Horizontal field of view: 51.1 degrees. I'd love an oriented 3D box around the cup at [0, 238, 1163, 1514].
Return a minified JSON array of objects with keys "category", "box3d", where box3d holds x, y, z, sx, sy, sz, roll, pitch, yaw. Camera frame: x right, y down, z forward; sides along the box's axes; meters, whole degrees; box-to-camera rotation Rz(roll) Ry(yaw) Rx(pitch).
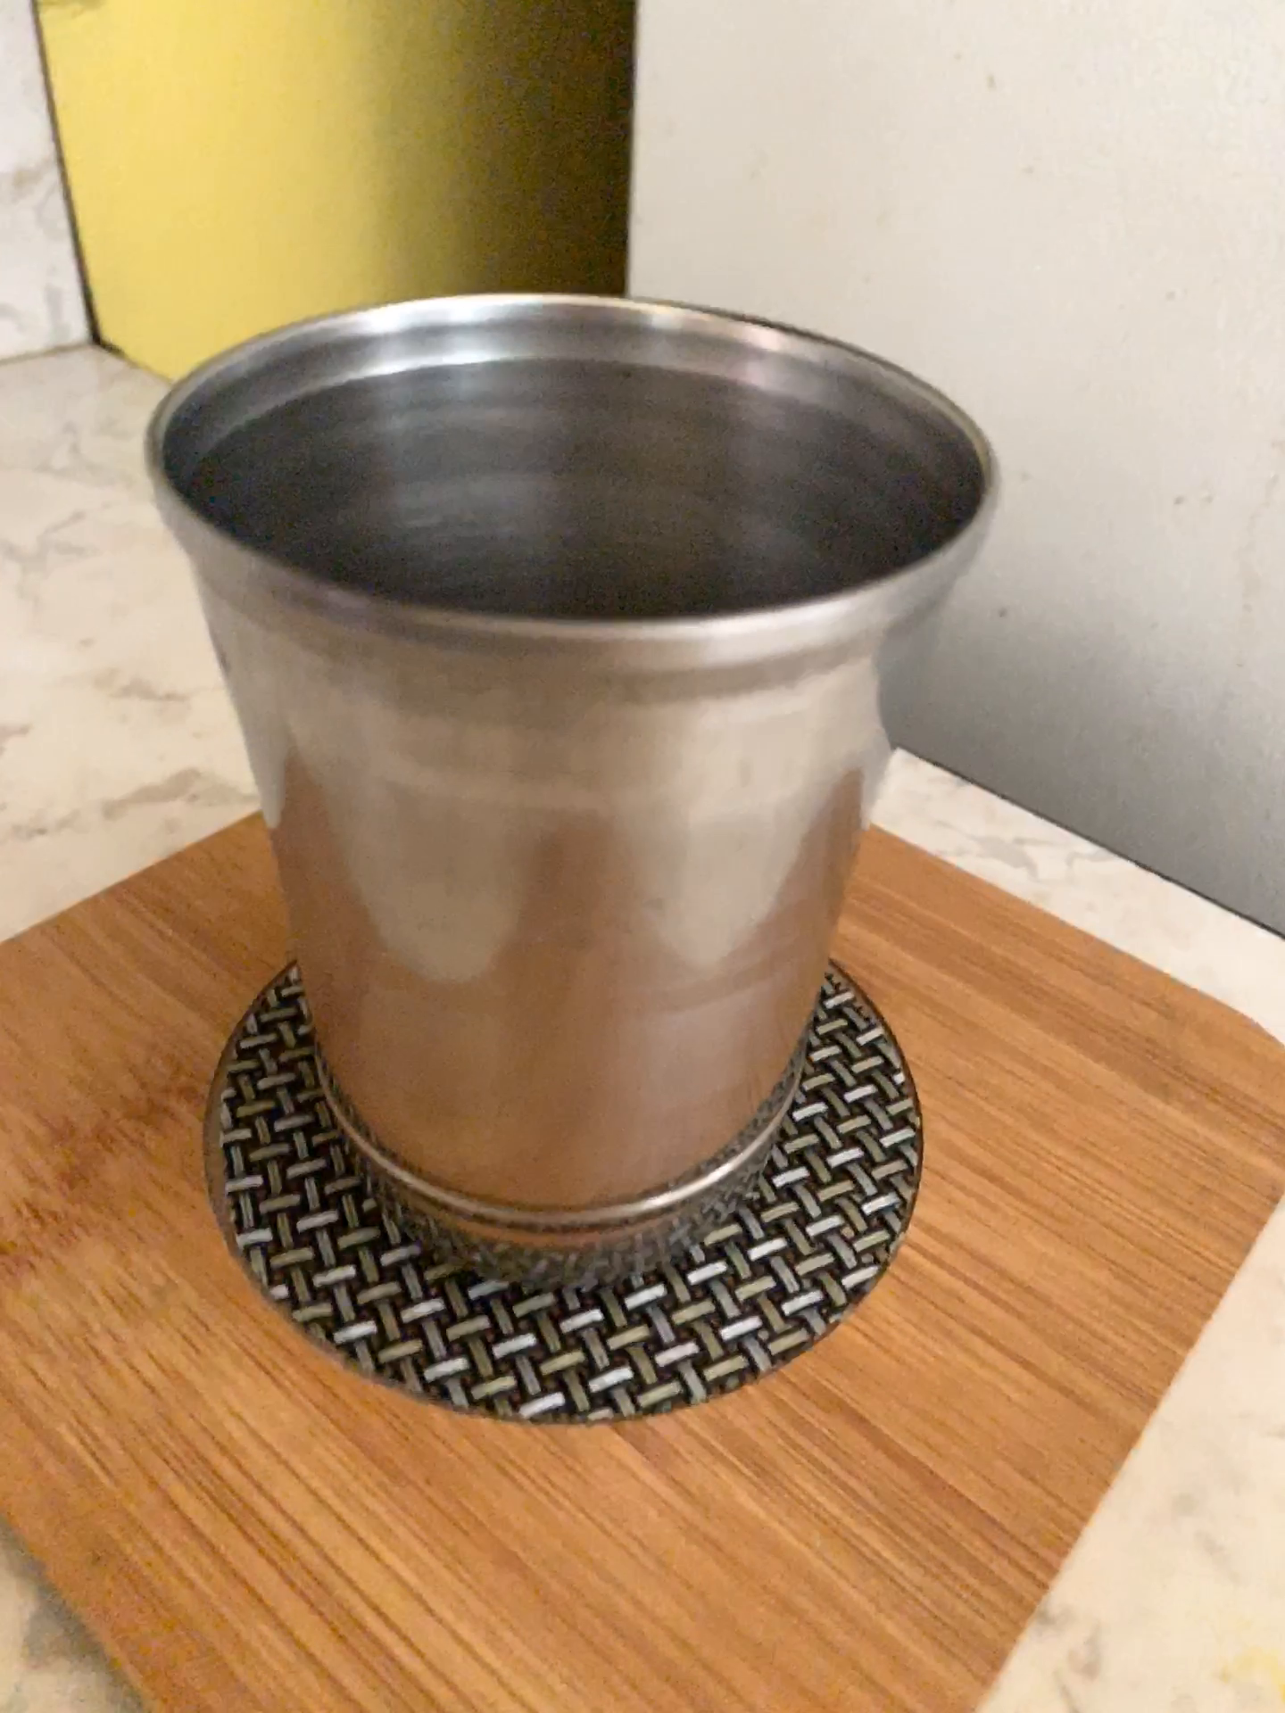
[{"category":"cup","box3d":[-0.007,-0.004,0.142,0.073,0.091,0.071,1,38,-1]}]
